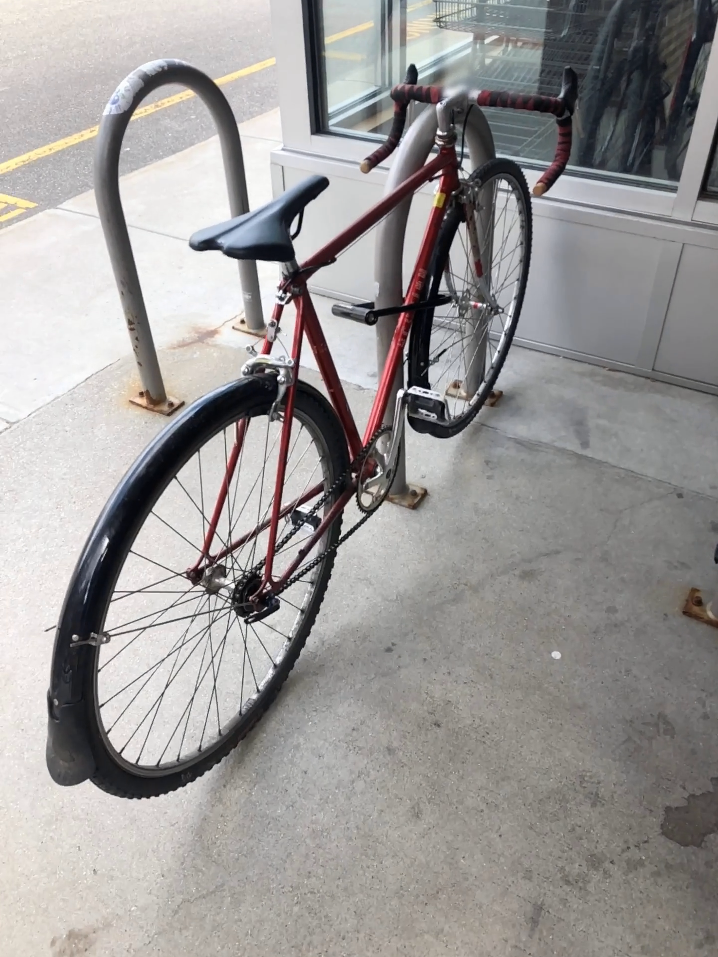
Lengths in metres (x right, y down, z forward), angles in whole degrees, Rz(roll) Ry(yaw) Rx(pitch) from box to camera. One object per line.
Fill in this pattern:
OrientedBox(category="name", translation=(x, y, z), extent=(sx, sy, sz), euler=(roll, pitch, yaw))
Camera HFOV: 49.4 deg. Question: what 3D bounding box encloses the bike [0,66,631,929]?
OrientedBox(category="bike", translation=(0.028, -0.159, 1.621), extent=(0.458, 0.787, 1.698), euler=(19, 47, 22))
